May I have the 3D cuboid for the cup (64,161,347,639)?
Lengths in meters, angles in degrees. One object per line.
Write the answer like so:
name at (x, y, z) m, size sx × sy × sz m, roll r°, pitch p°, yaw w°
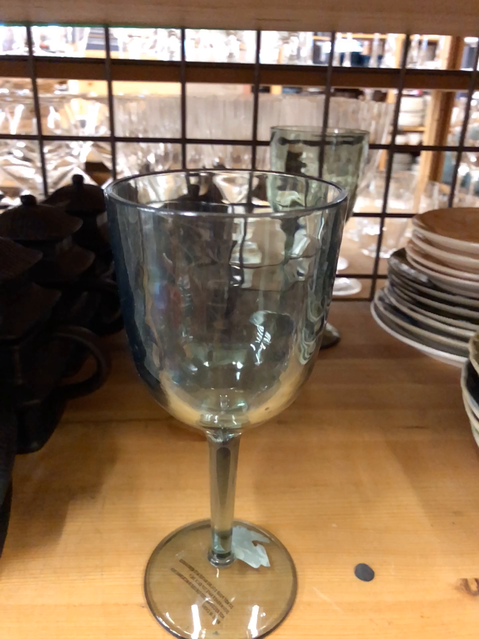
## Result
cup at (-0.007, 0.039, 0.251) m, size 0.091 × 0.204 × 0.094 m, roll 1°, pitch 23°, yaw -1°
